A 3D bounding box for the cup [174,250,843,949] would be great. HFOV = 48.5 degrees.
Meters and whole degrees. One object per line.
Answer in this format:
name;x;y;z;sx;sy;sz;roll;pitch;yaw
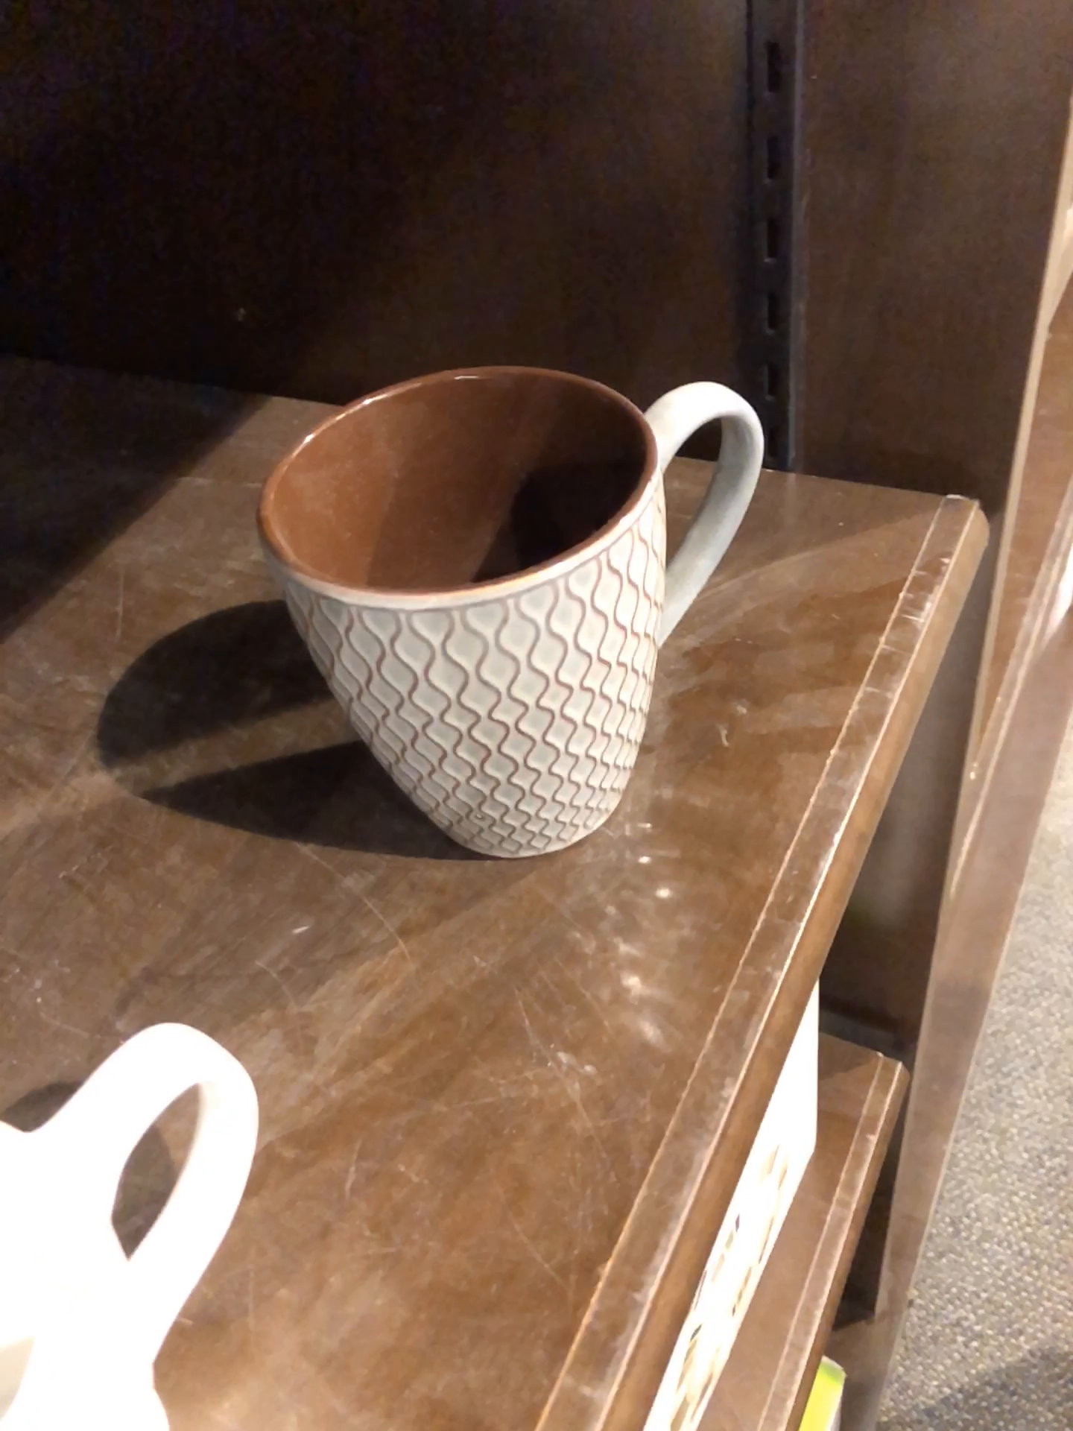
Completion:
cup;0.001;-0.034;0.306;0.085;0.098;0.132;31;58;30
